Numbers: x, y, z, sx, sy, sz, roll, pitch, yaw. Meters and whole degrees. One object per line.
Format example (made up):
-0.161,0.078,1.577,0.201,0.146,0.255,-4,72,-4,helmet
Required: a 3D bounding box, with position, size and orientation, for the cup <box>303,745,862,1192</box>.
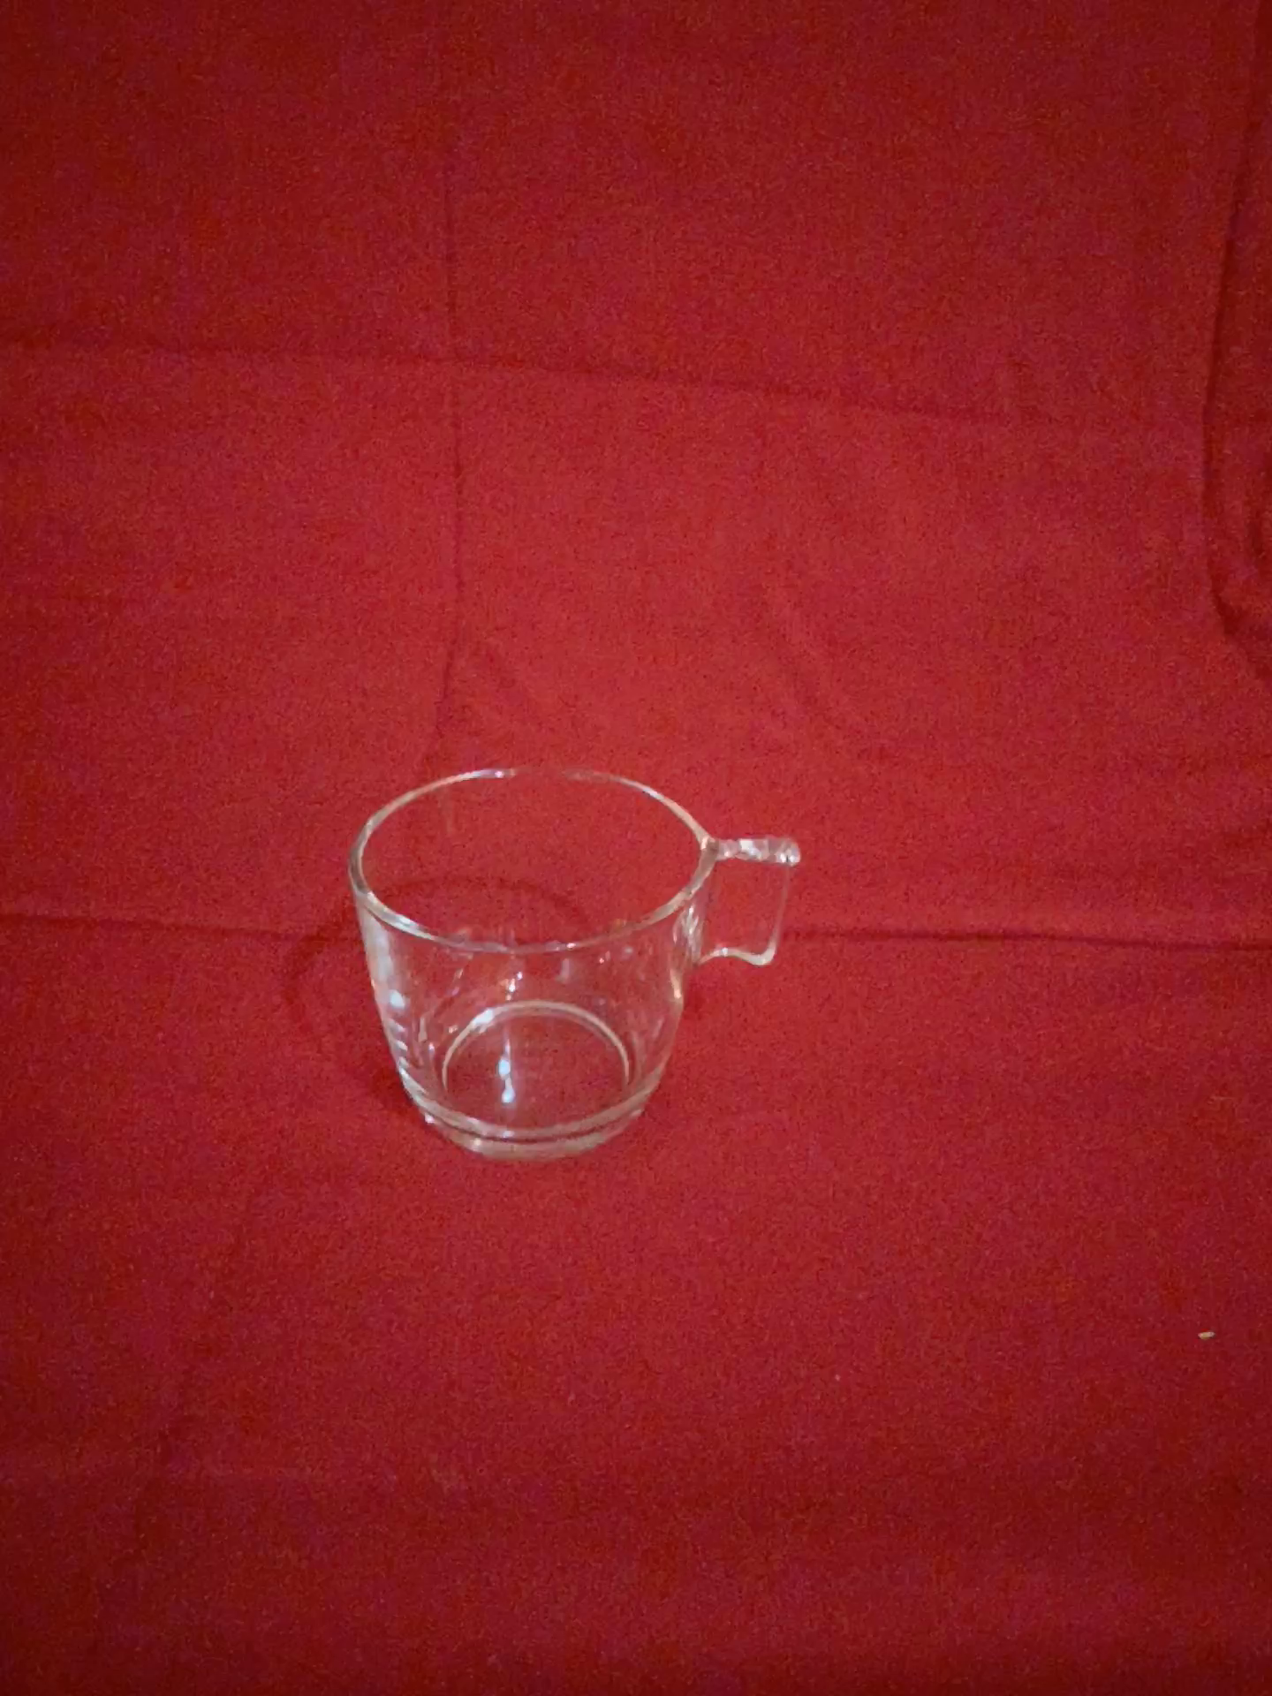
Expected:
-0.013,0.027,0.330,0.116,0.069,0.090,-1,33,-2,cup
